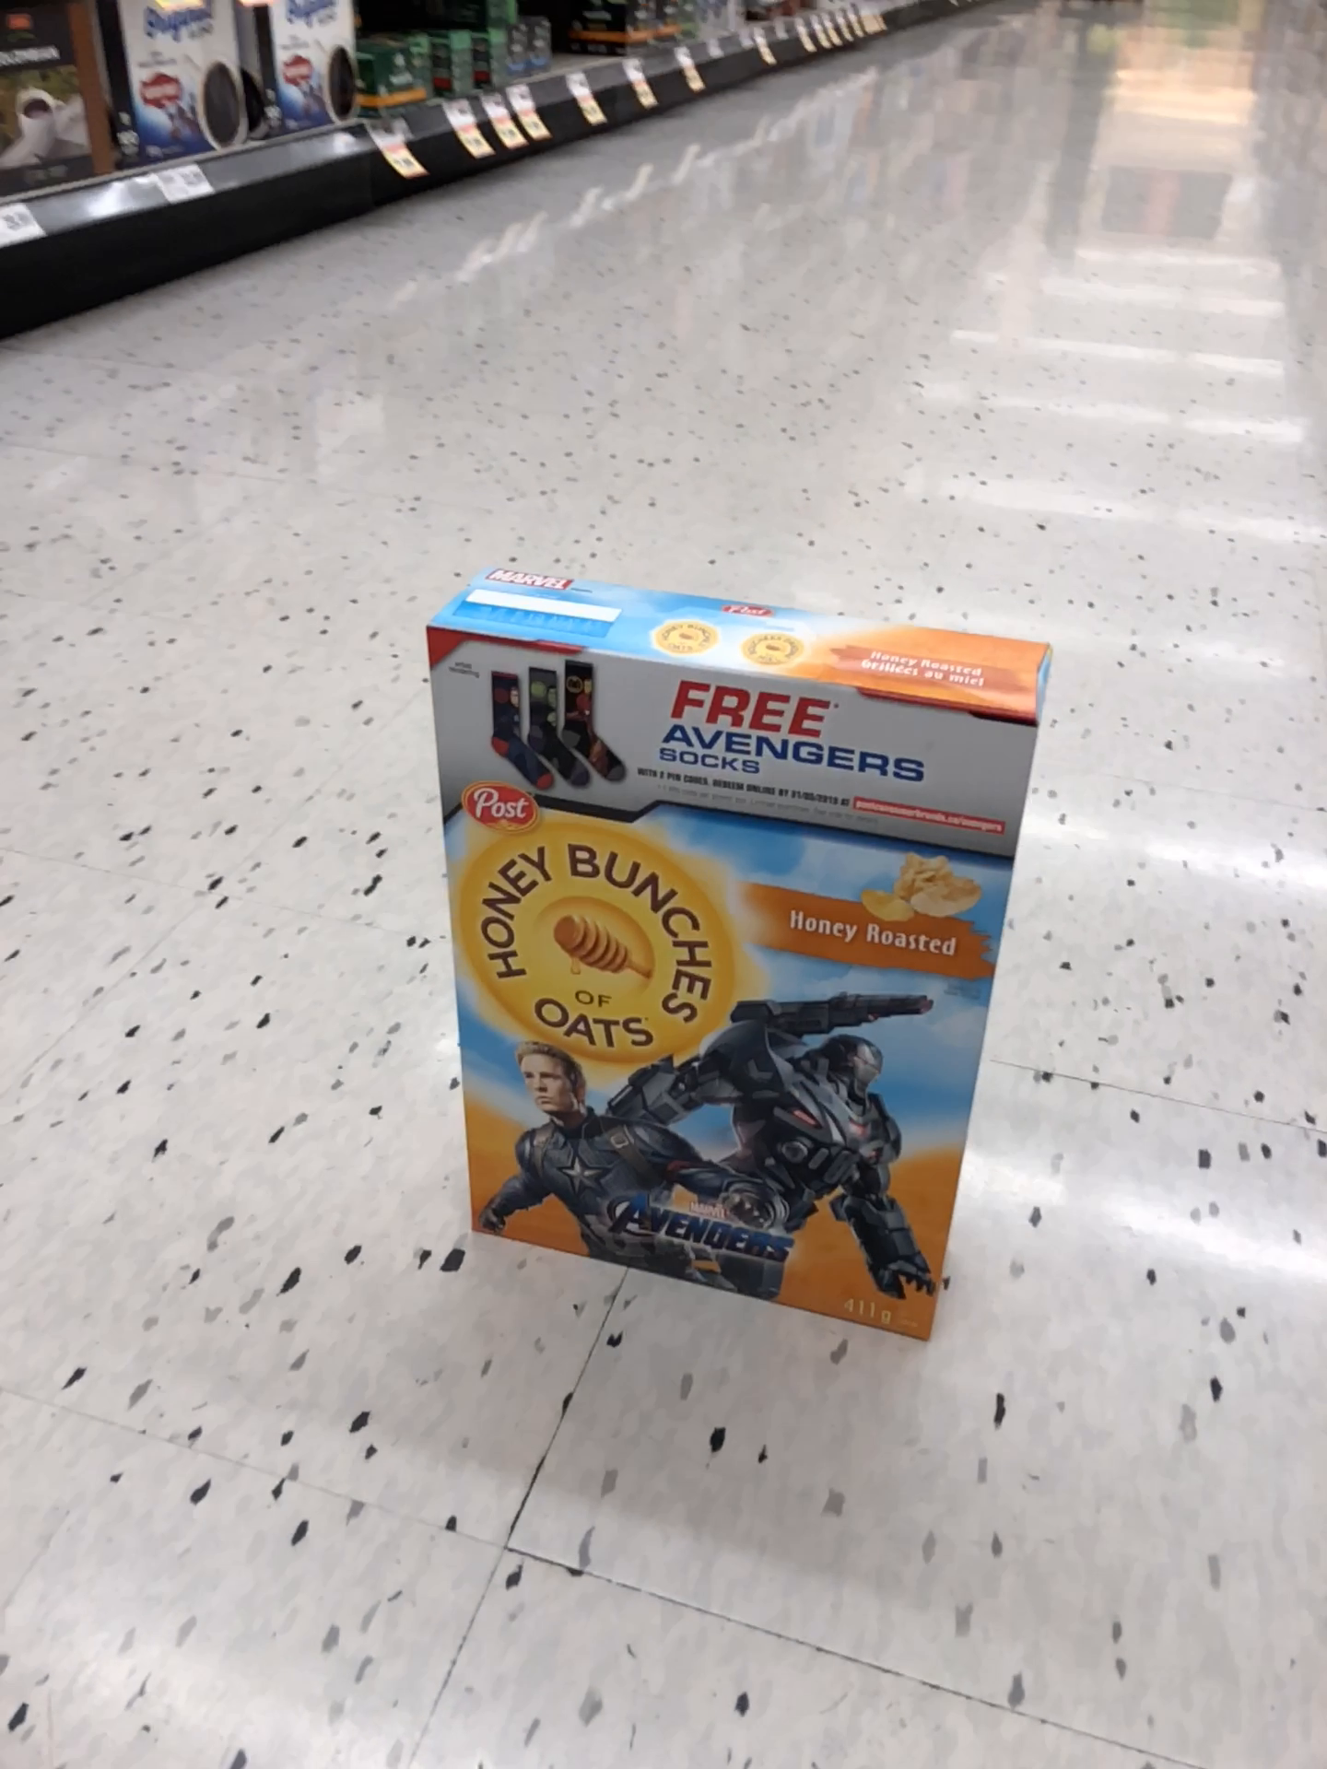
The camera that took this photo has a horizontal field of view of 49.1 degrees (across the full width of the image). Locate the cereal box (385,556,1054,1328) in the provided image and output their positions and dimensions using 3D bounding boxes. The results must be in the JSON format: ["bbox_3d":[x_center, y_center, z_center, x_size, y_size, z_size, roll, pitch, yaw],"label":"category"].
[{"bbox_3d":[0.015,0.028,0.524,0.200,0.258,0.060,10,34,12],"label":"cereal box"}]
